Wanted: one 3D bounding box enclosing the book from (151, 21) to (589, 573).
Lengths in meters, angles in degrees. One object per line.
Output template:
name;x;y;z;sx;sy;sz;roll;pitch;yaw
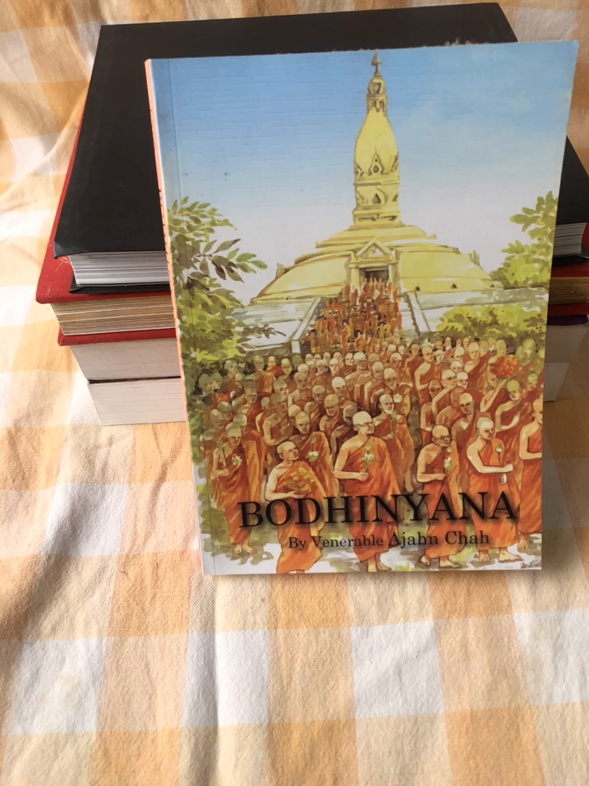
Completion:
book;0.031;-0.026;0.254;0.150;0.200;0.030;-1;17;2
